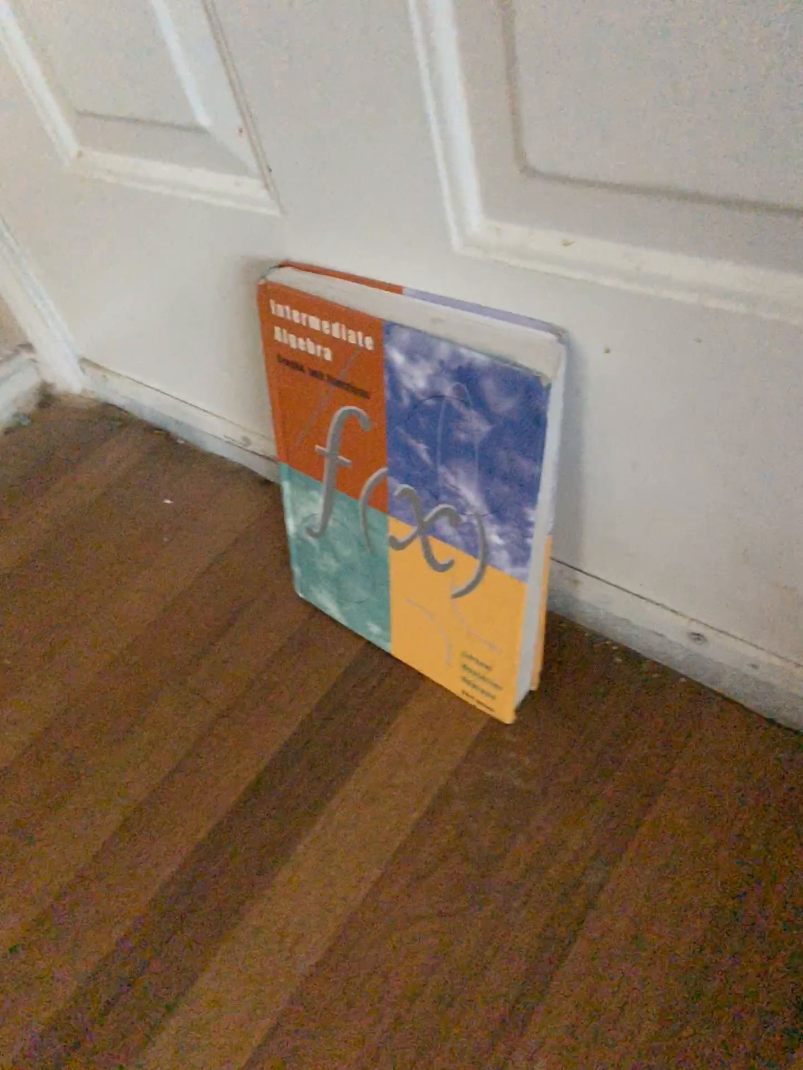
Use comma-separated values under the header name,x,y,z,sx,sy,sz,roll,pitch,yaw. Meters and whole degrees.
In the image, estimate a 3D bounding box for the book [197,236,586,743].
name,x,y,z,sx,sy,sz,roll,pitch,yaw
book,-0.012,-0.032,0.511,0.231,0.249,0.060,28,45,35
